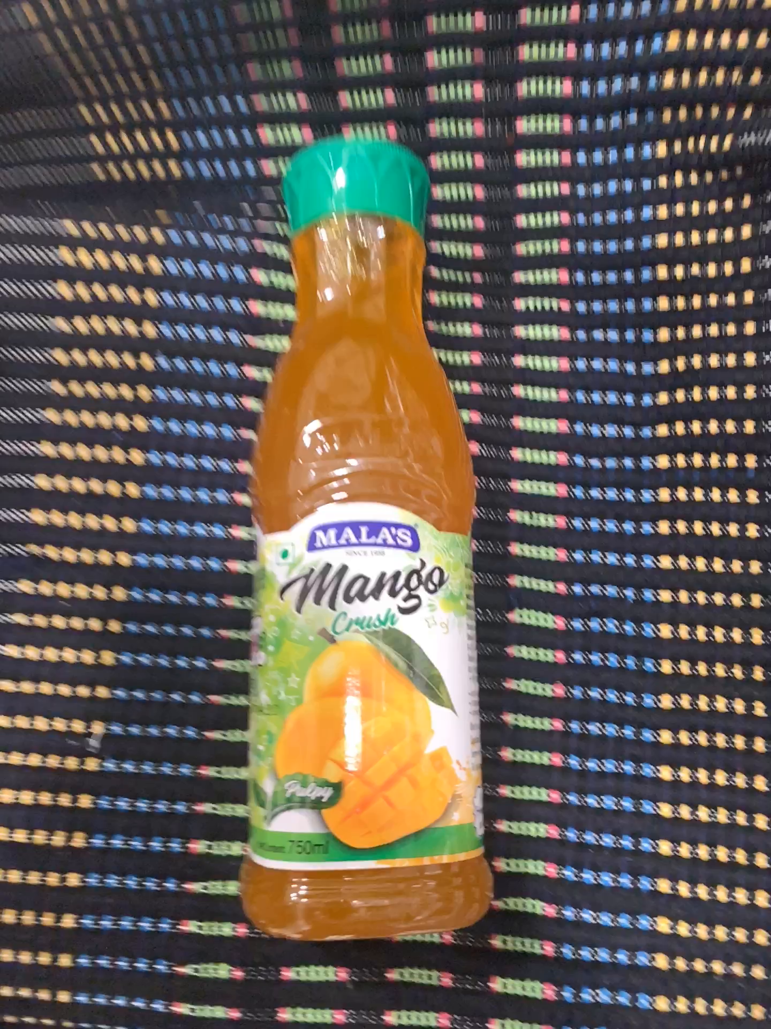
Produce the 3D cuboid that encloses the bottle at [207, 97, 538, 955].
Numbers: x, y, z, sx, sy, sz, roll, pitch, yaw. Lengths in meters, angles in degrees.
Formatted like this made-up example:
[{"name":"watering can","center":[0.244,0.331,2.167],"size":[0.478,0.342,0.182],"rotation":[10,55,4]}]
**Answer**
[{"name":"bottle","center":[-0.009,-0.001,0.264],"size":[0.080,0.090,0.240],"rotation":[0,76,-6]}]
